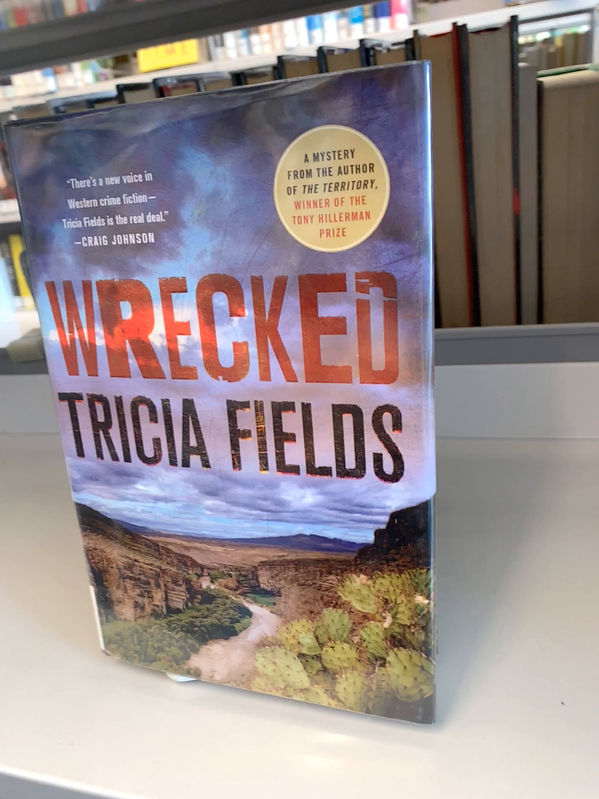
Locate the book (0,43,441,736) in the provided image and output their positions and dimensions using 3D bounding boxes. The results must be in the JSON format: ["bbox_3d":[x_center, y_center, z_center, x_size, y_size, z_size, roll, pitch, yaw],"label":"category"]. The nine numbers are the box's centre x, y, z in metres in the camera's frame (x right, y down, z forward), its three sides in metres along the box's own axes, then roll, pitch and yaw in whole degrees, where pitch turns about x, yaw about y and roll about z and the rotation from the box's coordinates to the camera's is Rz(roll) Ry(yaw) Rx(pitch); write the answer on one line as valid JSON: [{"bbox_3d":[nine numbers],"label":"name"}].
[{"bbox_3d":[-0.032,0.005,0.219,0.150,0.203,0.040,1,18,21],"label":"book"}]
